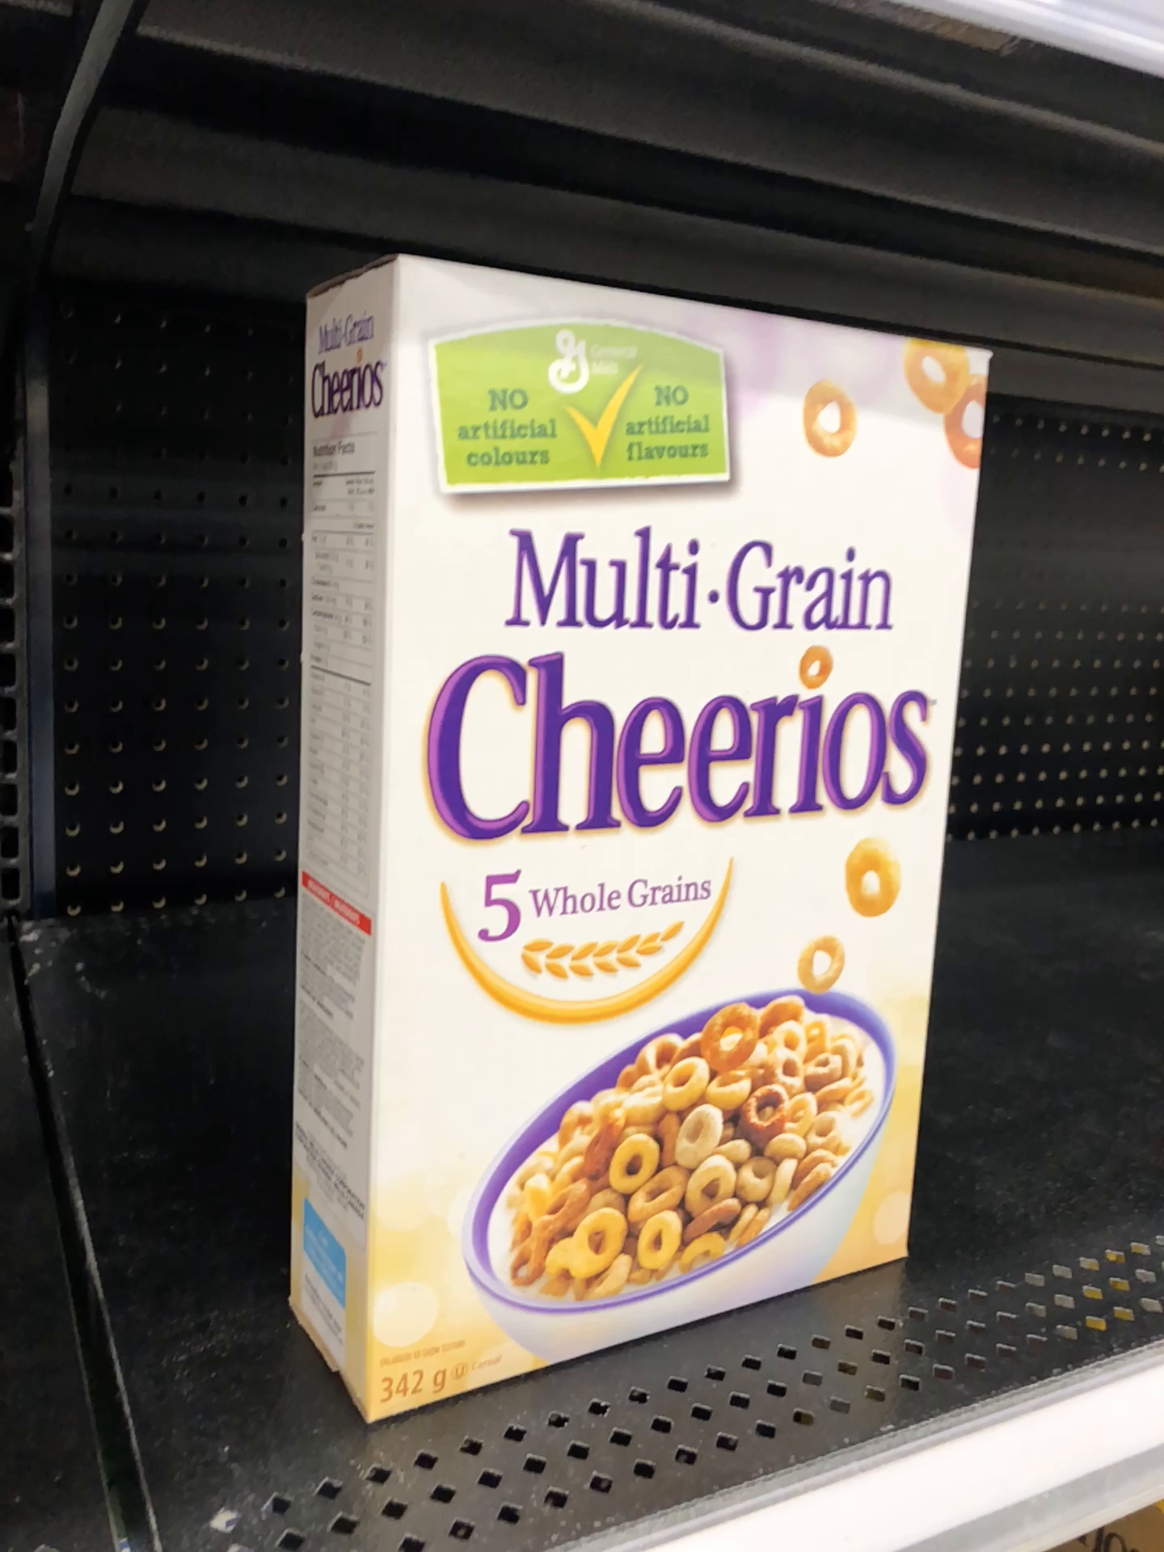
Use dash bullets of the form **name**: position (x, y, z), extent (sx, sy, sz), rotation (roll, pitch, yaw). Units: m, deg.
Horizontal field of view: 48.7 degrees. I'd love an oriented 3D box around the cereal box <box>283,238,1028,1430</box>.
- **cereal box**: position (0.020, 0.013, 0.384), extent (0.200, 0.289, 0.070), rotation (-3, 11, -29)
